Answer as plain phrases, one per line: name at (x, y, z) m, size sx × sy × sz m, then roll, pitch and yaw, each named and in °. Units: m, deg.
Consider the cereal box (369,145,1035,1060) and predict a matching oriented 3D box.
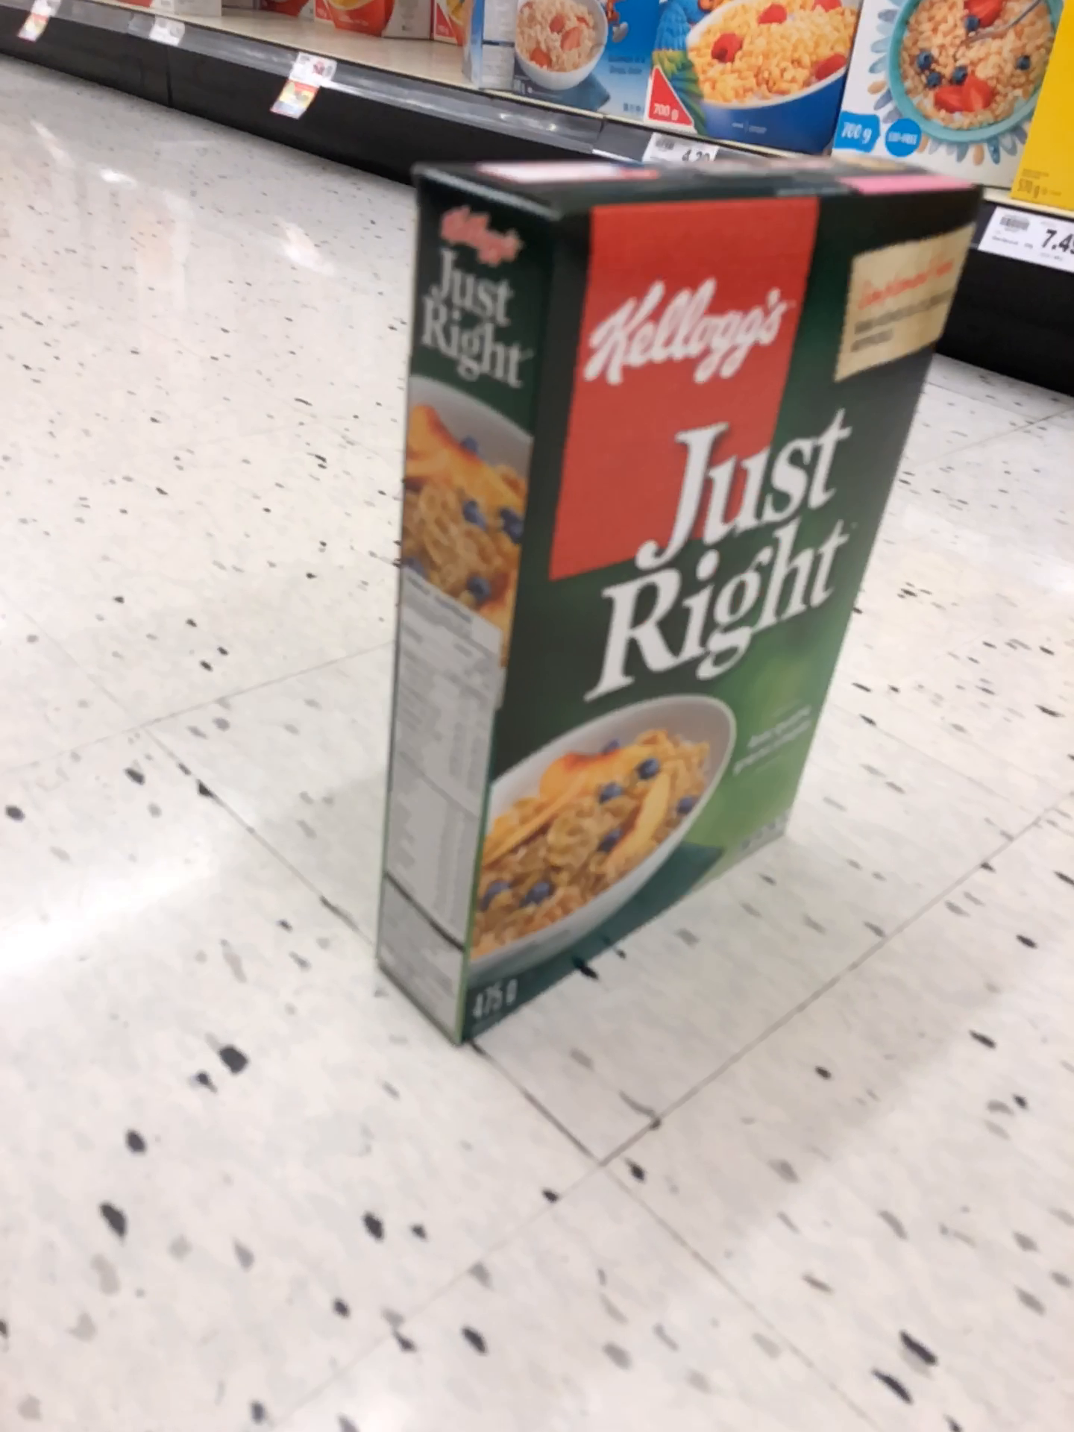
cereal box at (0.049, -0.041, 0.394) m, size 0.211 × 0.268 × 0.050 m, roll -22°, pitch 43°, yaw -38°
